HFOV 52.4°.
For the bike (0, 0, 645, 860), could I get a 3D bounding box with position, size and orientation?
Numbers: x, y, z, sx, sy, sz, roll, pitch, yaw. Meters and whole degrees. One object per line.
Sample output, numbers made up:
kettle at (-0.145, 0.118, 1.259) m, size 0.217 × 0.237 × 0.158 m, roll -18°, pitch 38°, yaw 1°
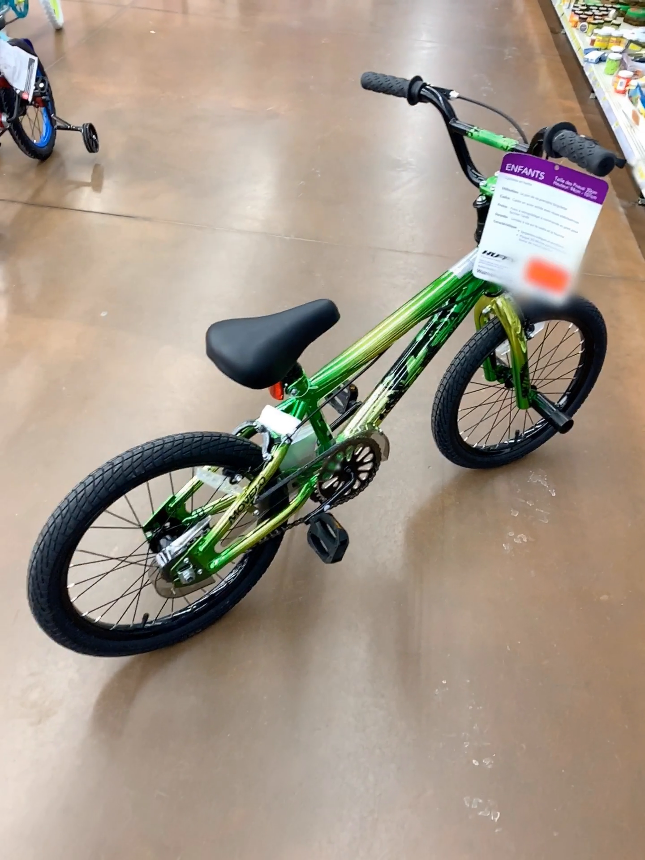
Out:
bike at (0.213, -0.096, 1.158) m, size 1.407 × 1.034 × 0.720 m, roll -25°, pitch 50°, yaw -20°
